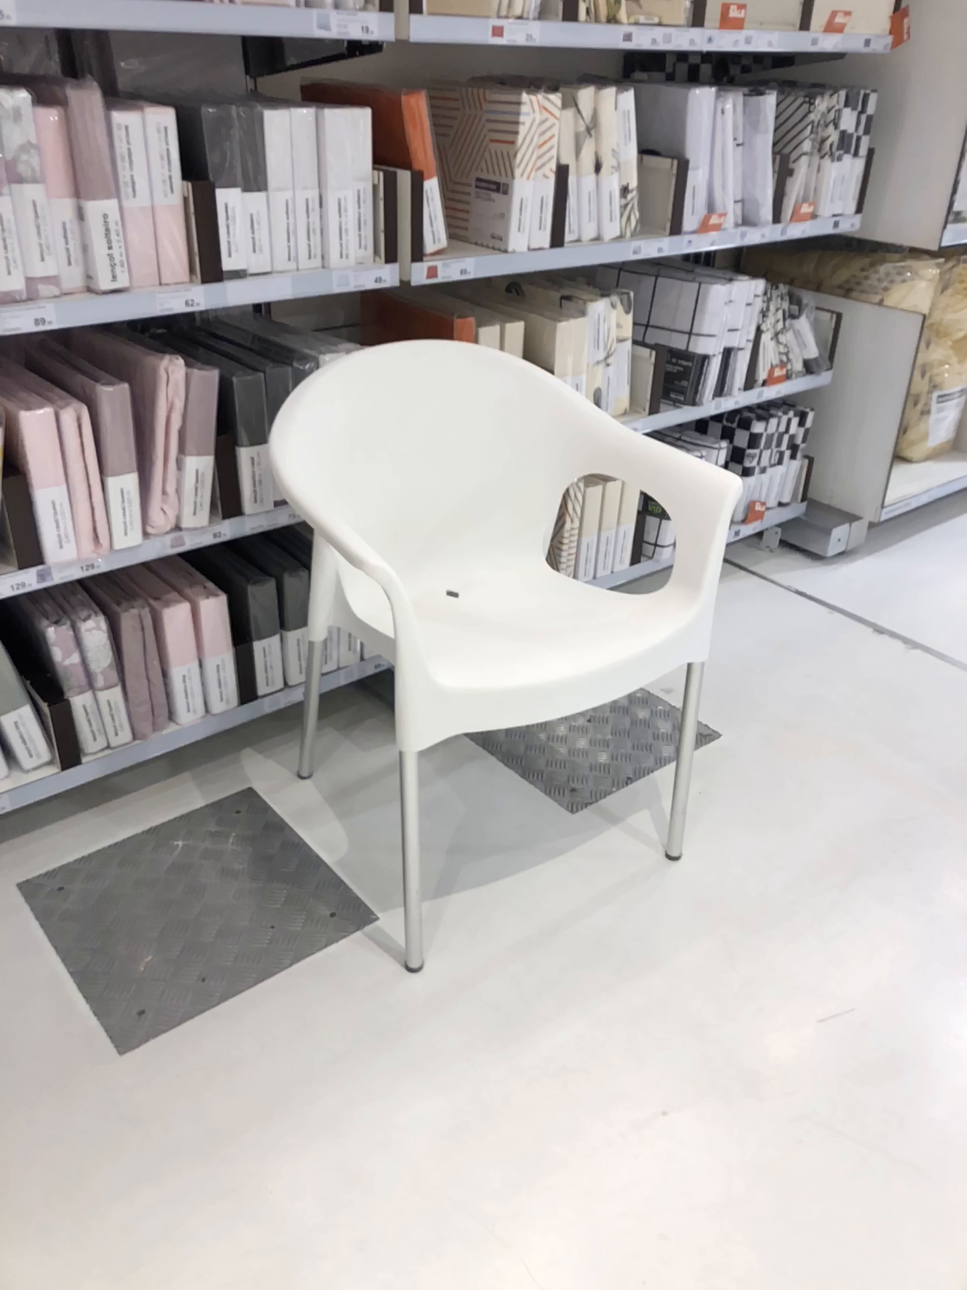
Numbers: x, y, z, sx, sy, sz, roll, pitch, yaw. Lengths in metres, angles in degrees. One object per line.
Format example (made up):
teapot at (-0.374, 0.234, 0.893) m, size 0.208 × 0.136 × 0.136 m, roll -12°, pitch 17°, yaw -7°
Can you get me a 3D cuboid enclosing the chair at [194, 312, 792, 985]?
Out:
chair at (-0.016, -0.050, 1.575) m, size 0.592 × 0.704 × 0.553 m, roll -15°, pitch 33°, yaw -28°
